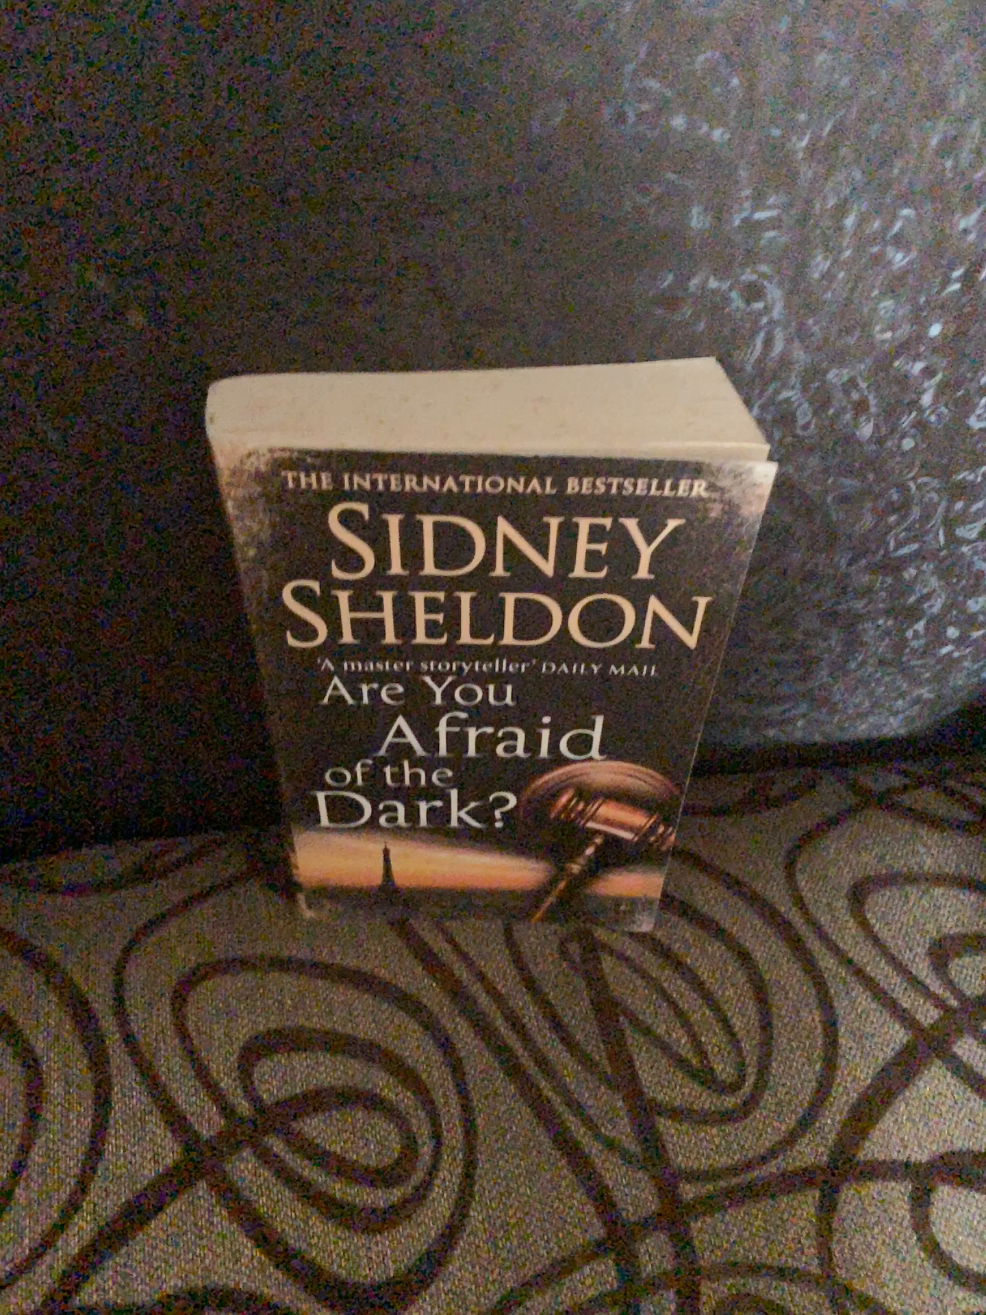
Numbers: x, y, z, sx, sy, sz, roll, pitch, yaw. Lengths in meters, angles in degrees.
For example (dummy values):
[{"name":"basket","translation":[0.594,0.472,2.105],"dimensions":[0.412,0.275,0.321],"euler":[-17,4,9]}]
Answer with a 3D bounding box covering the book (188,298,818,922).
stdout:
[{"name":"book","translation":[-0.005,0.003,0.270],"dimensions":[0.120,0.179,0.040],"euler":[1,44,-6]}]
